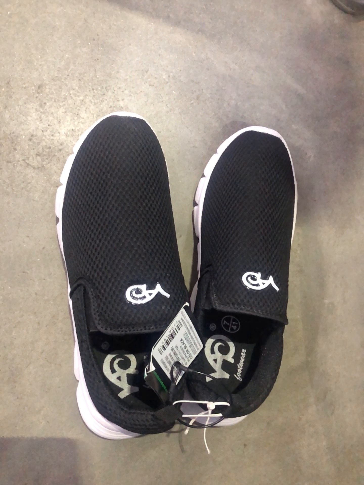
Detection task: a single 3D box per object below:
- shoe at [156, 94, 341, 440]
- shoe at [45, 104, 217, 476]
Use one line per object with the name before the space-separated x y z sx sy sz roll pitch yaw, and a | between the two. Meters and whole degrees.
shoe | 0.058 0.021 0.382 0.110 0.100 0.270 11 81 -7
shoe | -0.051 0.030 0.347 0.110 0.100 0.260 -3 86 -18
